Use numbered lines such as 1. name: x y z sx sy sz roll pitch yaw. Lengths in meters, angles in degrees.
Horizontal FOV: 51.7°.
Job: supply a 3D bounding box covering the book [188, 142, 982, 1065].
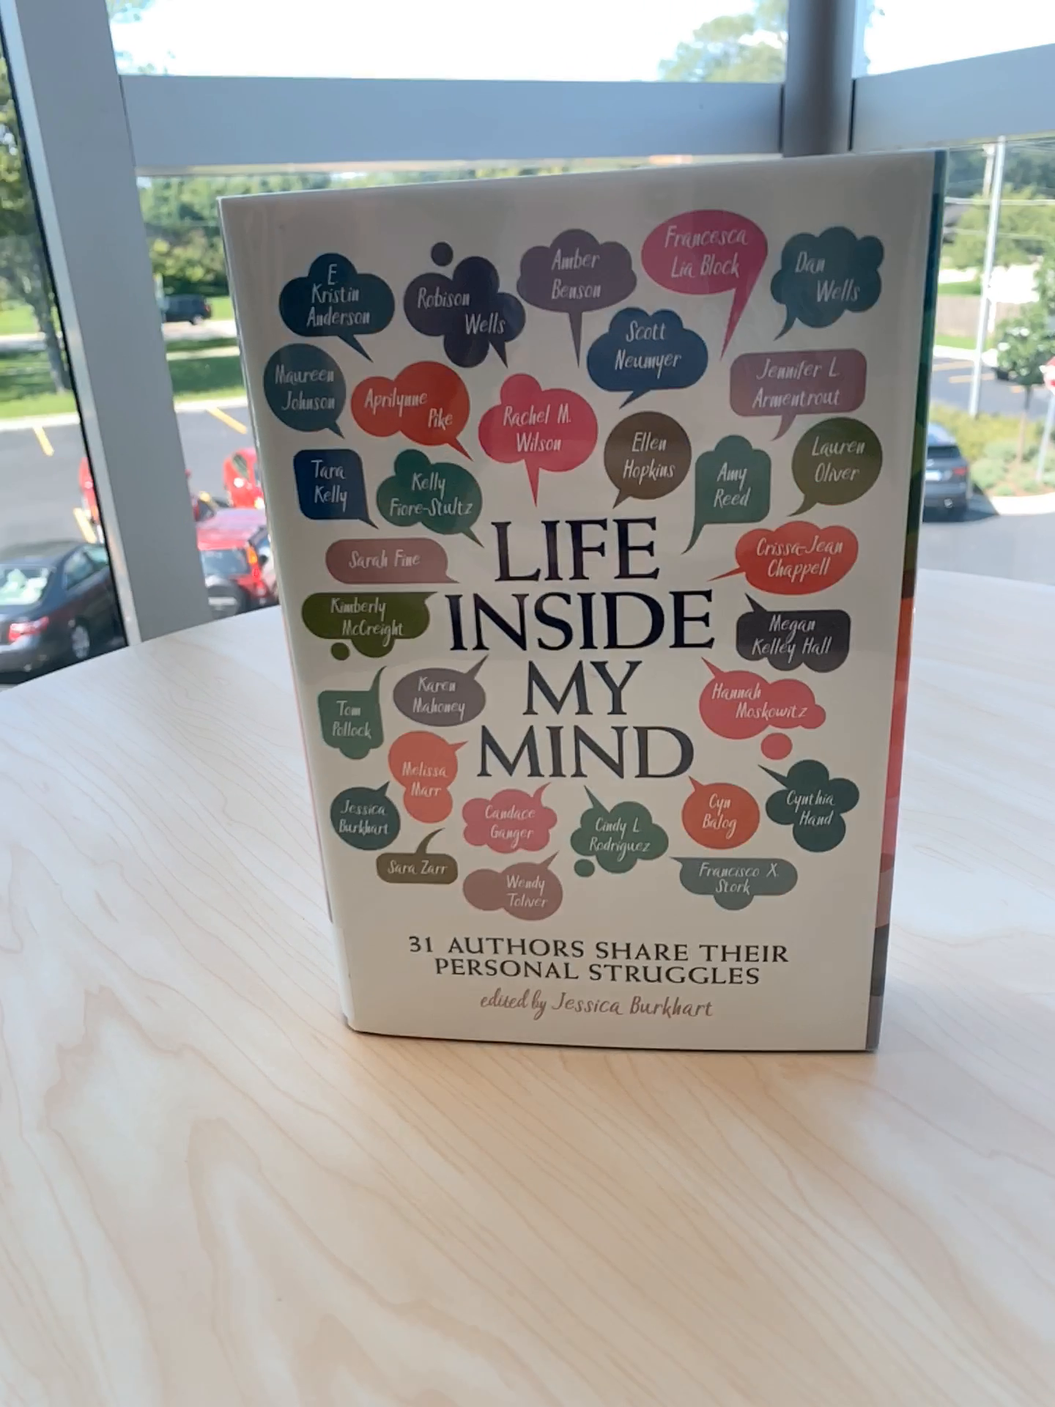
1. book: 0.015 -0.009 0.265 0.150 0.218 0.030 0 25 7
